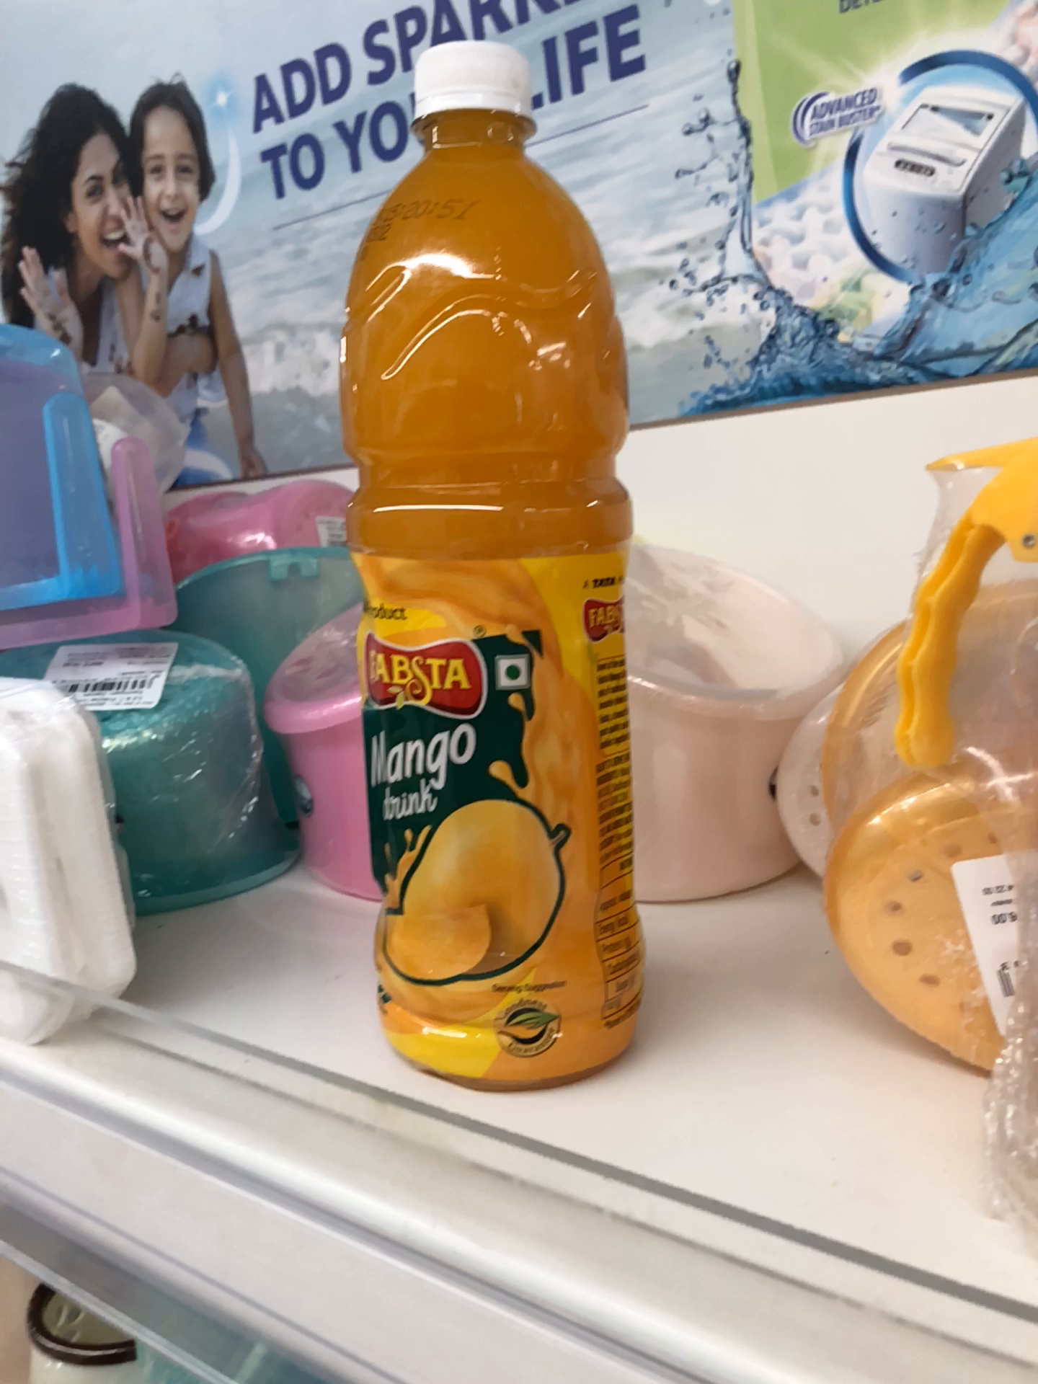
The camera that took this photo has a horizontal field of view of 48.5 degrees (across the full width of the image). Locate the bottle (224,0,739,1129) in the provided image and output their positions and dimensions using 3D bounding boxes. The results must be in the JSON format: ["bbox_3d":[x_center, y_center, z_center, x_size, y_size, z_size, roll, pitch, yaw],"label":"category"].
[{"bbox_3d":[-0.004,-0.029,0.319,0.090,0.259,0.080,1,10,34],"label":"bottle"}]
